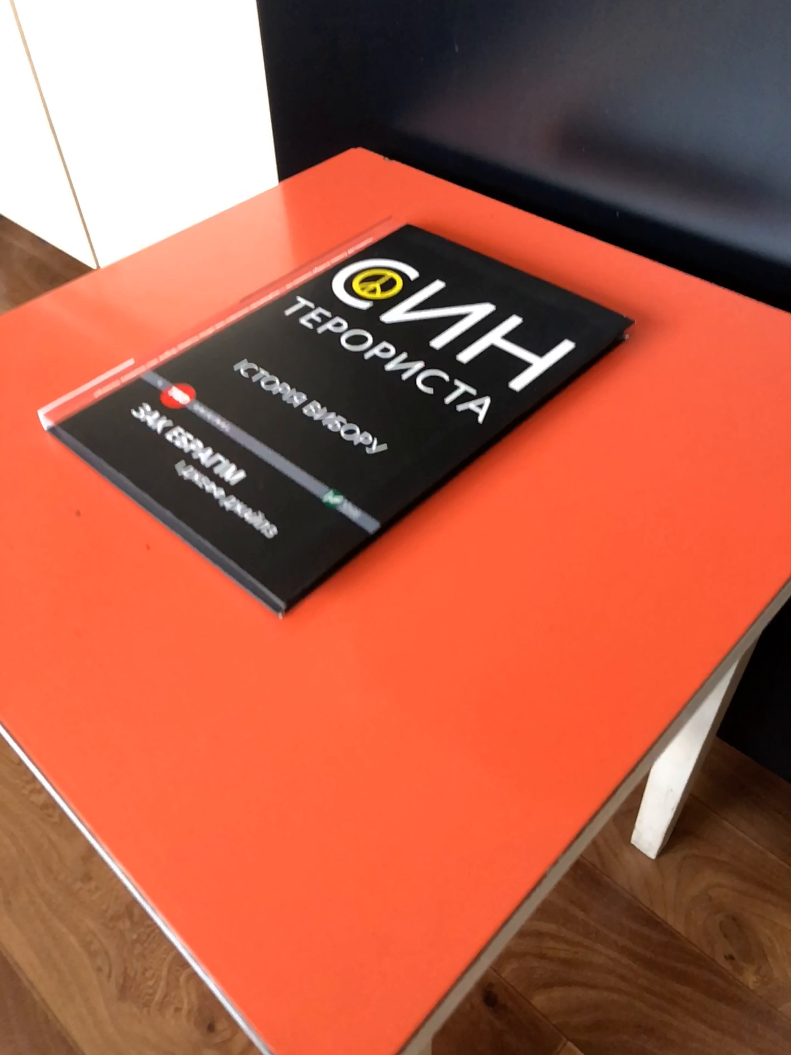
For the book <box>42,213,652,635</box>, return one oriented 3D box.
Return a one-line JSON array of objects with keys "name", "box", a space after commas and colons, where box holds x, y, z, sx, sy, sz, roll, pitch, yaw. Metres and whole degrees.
[{"name": "book", "box": [-0.015, -0.060, 0.346, 0.140, 0.016, 0.198, 34, 57, 30]}]
